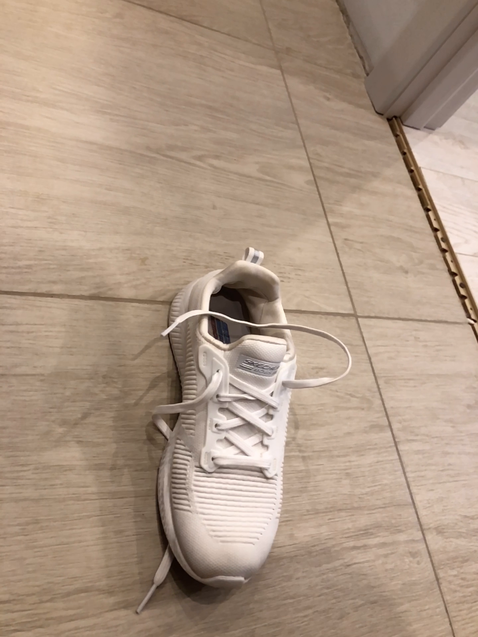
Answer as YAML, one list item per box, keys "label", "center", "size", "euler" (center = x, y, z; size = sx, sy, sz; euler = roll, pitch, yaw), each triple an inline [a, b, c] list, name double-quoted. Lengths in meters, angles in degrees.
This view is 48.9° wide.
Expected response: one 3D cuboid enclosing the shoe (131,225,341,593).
- label: "shoe"
  center: [-0.010, 0.069, 0.385]
  size: [0.090, 0.119, 0.231]
  euler: [12, 59, -23]
